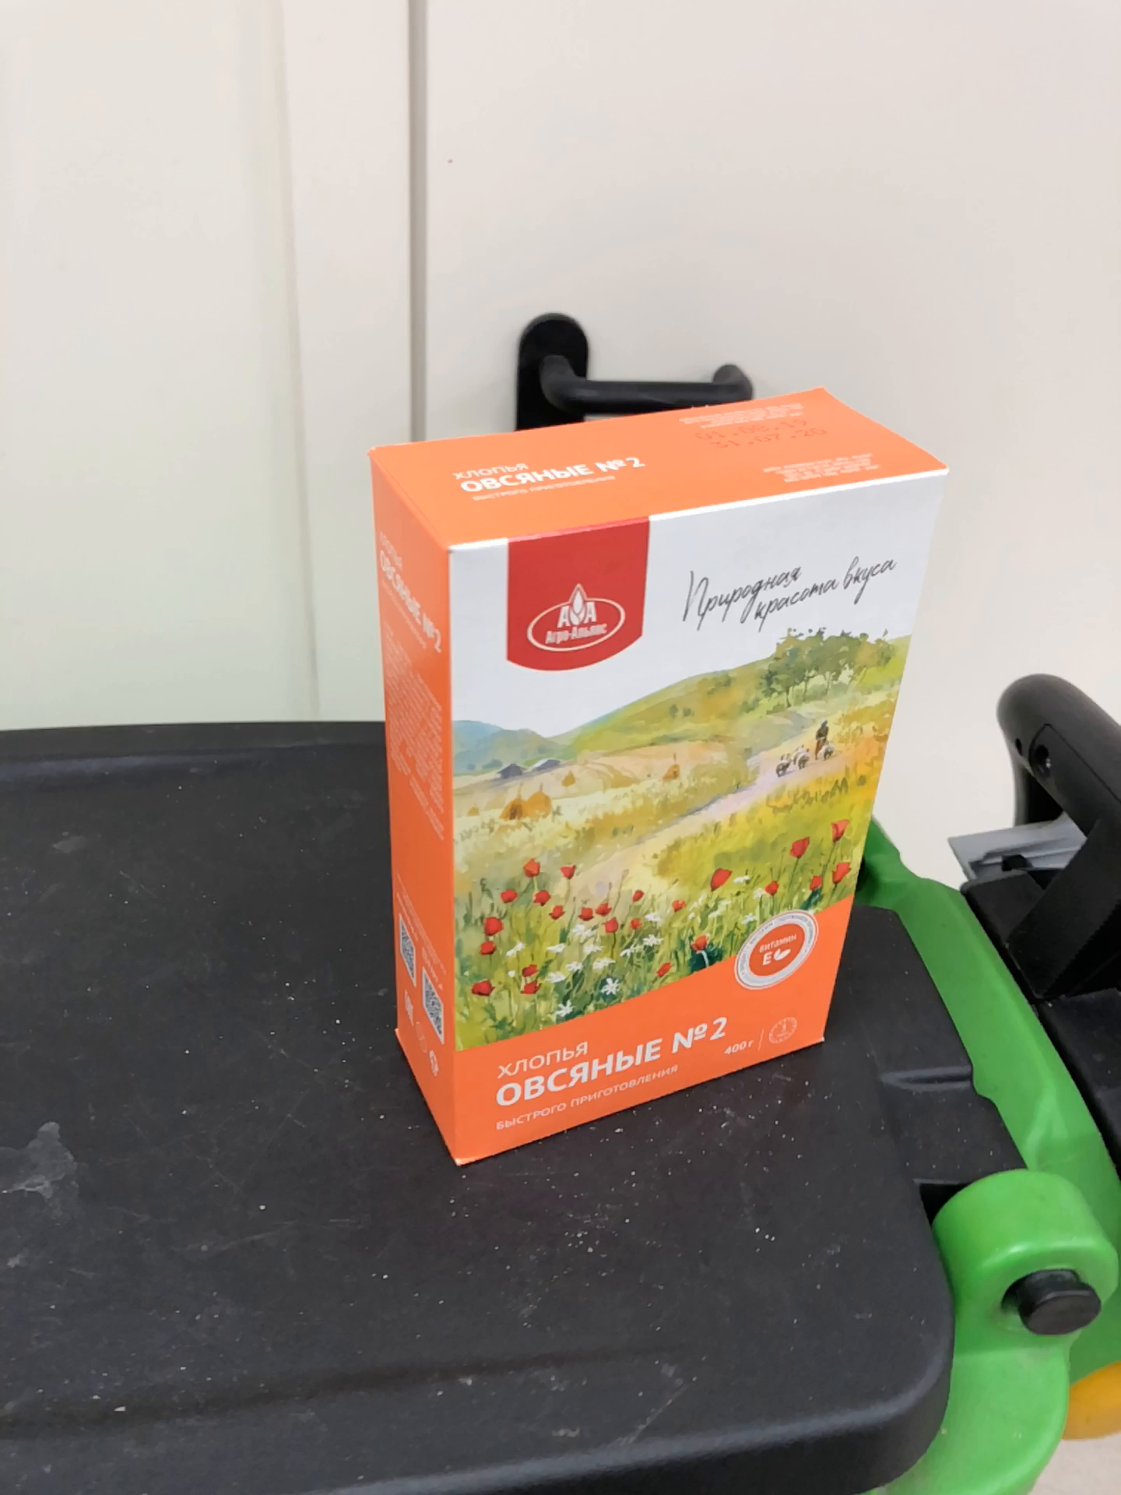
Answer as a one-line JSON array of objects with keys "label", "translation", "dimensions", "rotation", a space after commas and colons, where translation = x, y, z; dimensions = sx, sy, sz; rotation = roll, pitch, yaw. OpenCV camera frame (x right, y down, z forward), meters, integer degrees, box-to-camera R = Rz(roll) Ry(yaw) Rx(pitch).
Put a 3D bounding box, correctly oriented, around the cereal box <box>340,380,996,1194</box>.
[{"label": "cereal box", "translation": [0.023, 0.013, 0.358], "dimensions": [0.150, 0.209, 0.060], "rotation": [-12, 36, -22]}]
